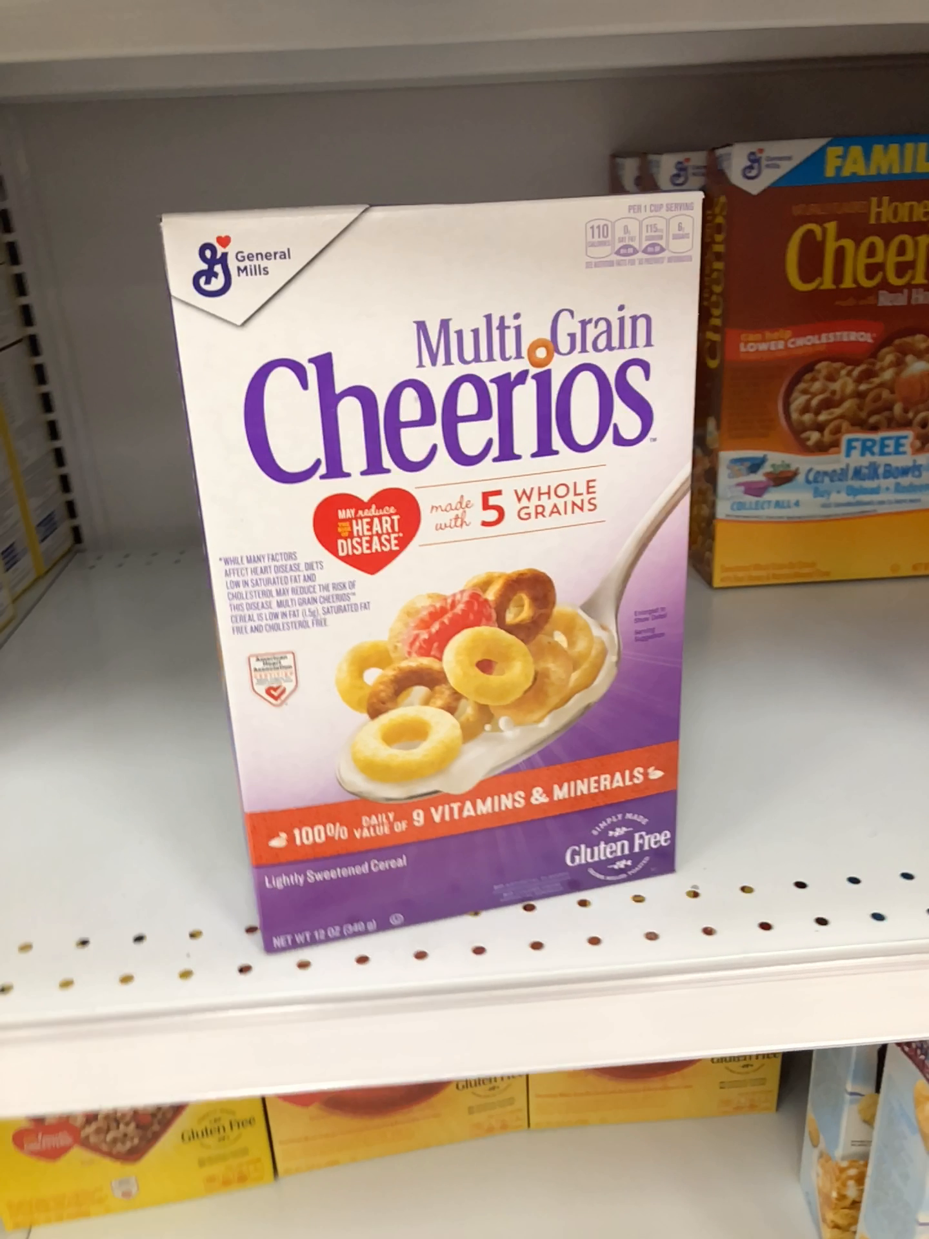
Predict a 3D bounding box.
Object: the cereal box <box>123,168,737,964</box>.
[{"bbox_3d":[-0.007,-0.020,0.432,0.210,0.299,0.070,-8,23,-12],"label":"cereal box"}]
